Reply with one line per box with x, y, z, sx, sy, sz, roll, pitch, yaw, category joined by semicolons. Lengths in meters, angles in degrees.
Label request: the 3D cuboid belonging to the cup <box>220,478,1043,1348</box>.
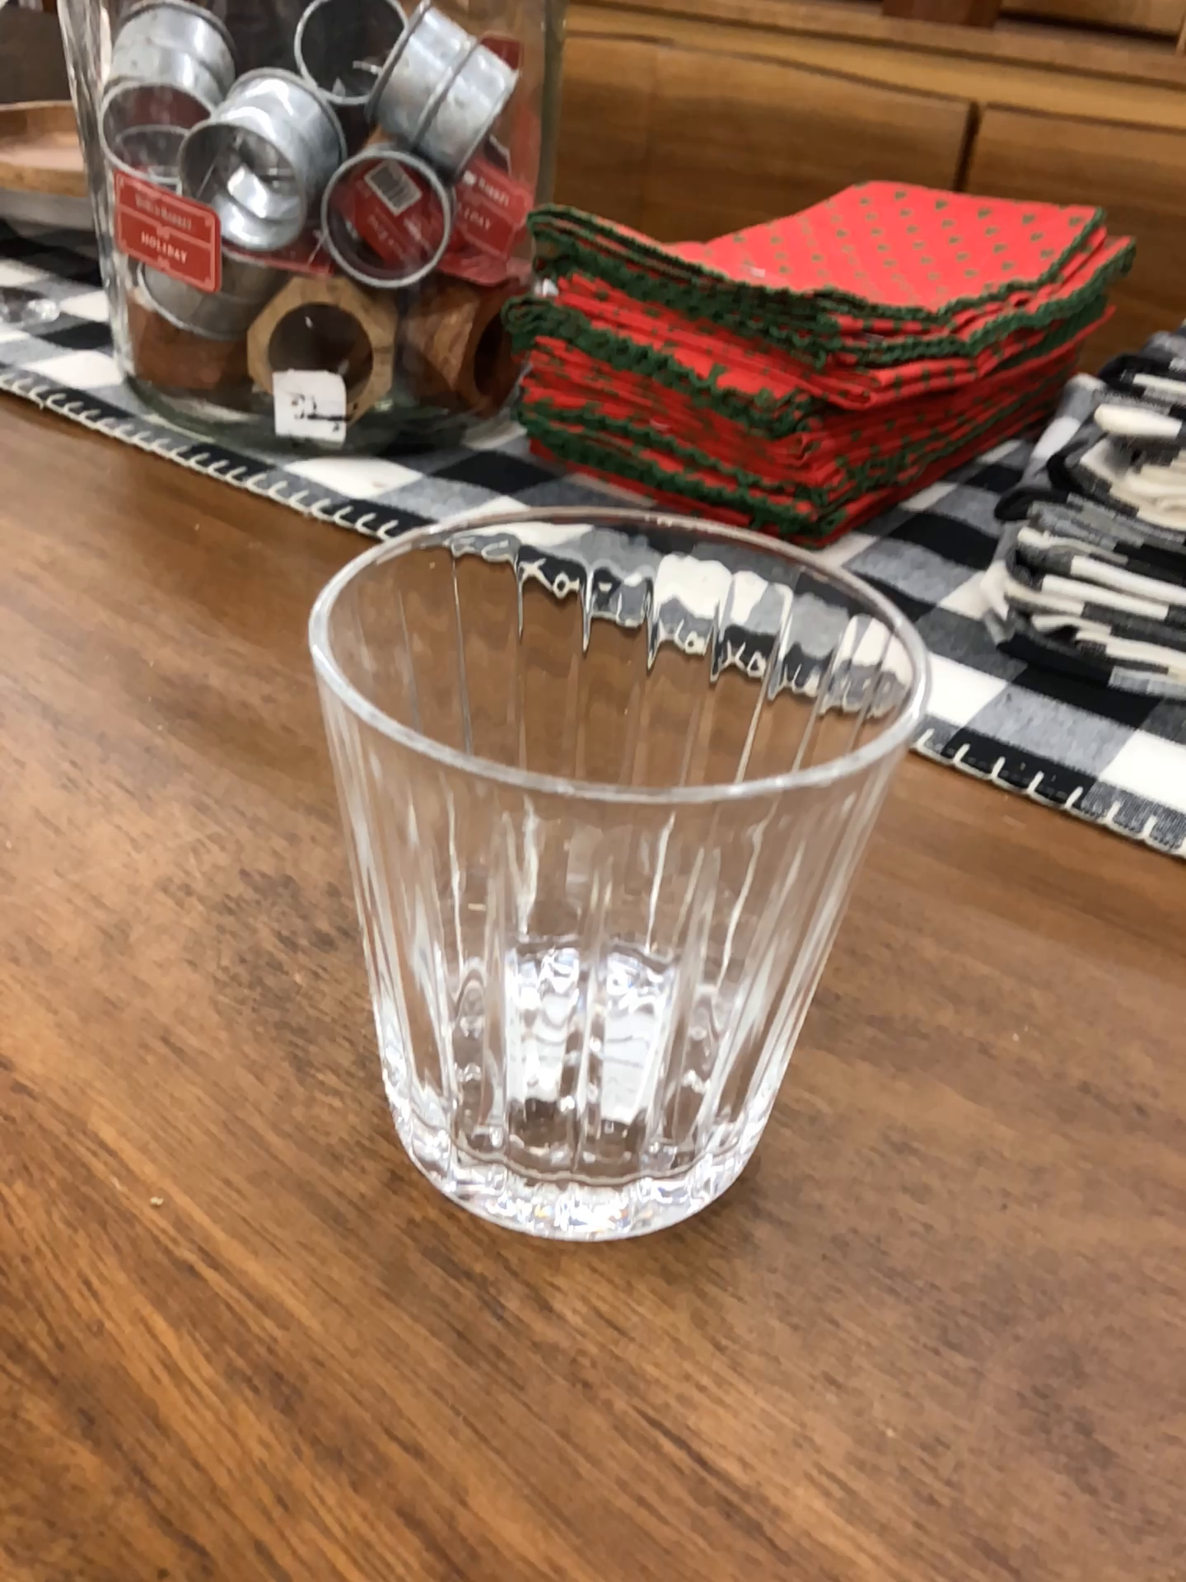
0.001;0.013;0.230;0.093;0.093;0.090;3;34;-2;cup
